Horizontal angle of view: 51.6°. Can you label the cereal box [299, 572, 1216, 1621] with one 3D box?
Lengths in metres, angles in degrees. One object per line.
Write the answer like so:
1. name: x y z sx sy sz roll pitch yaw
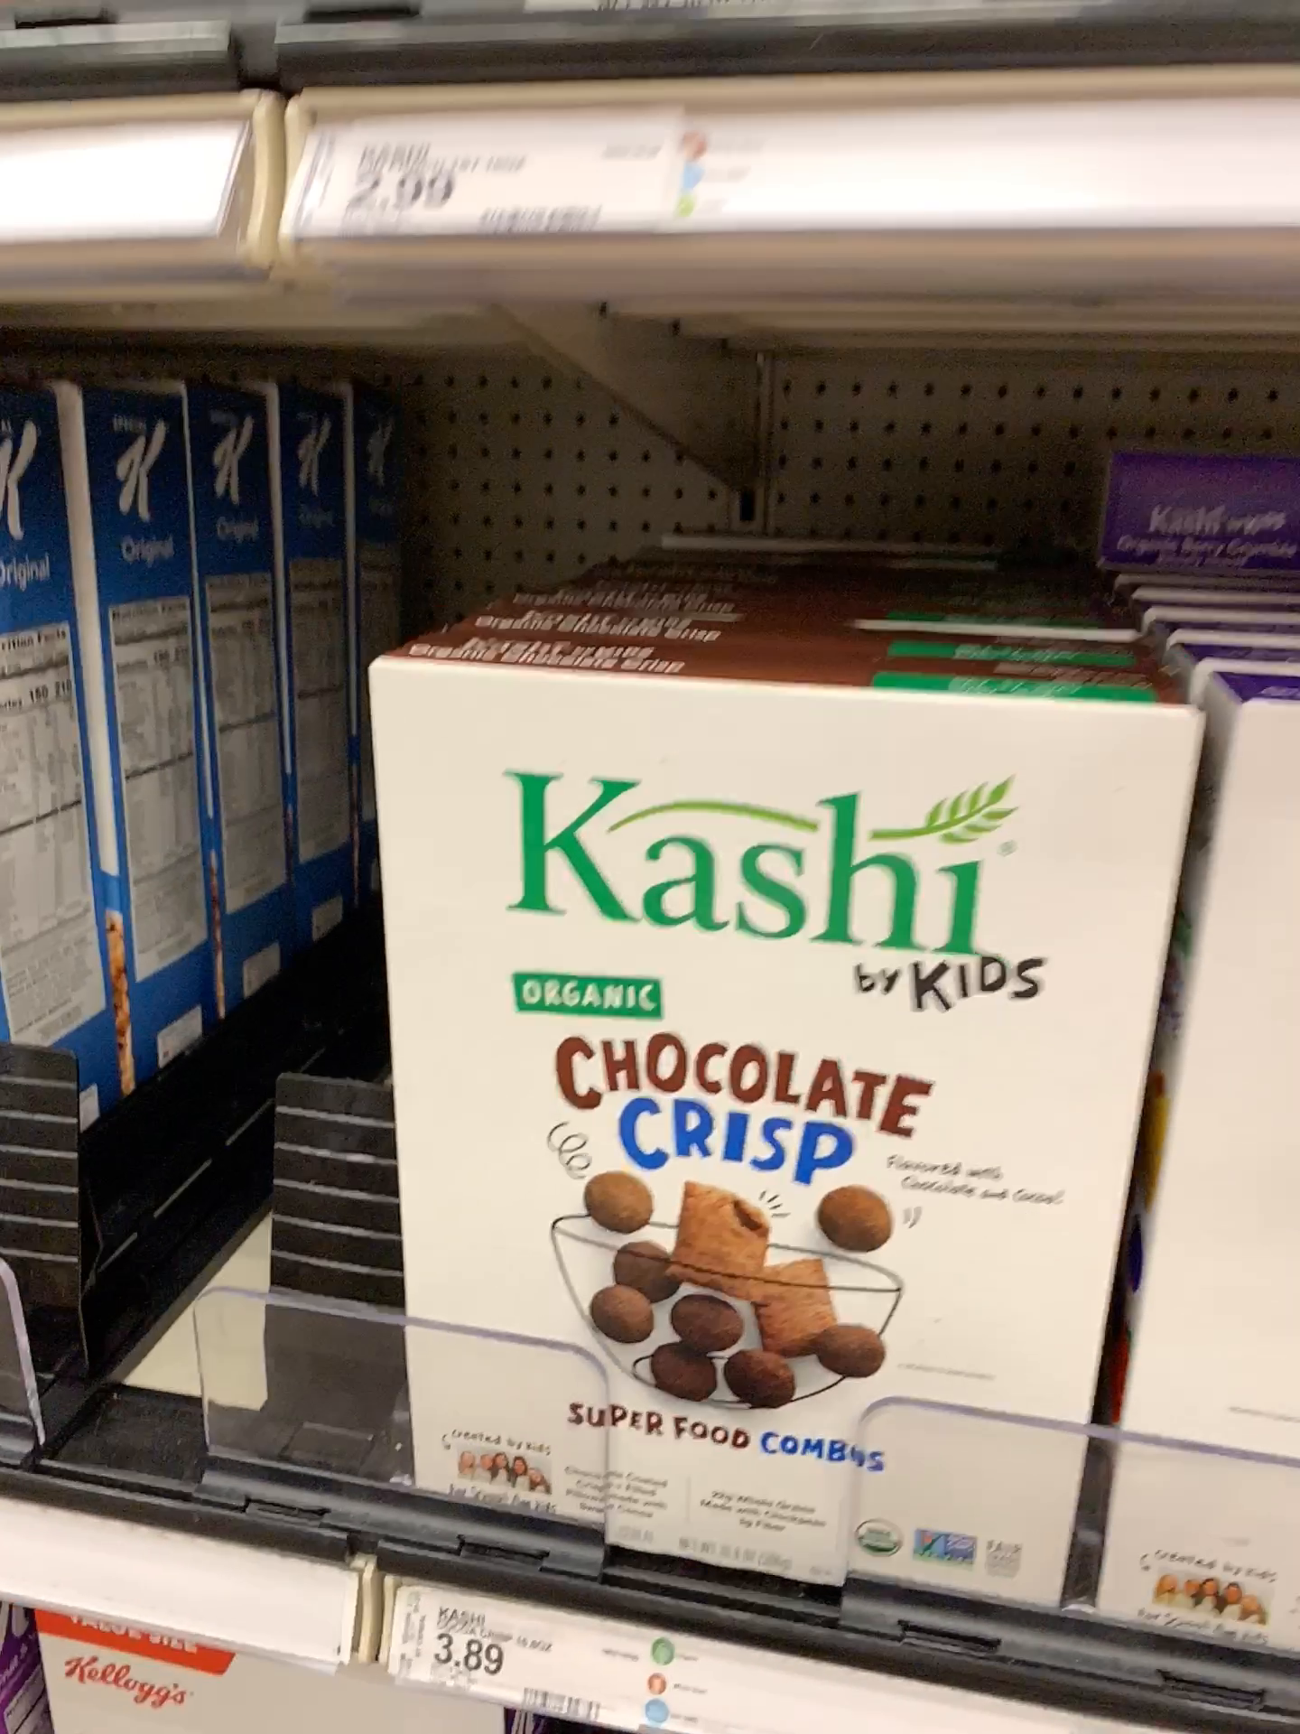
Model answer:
1. cereal box: 0.022 0.060 0.362 0.200 0.259 0.060 5 20 12
